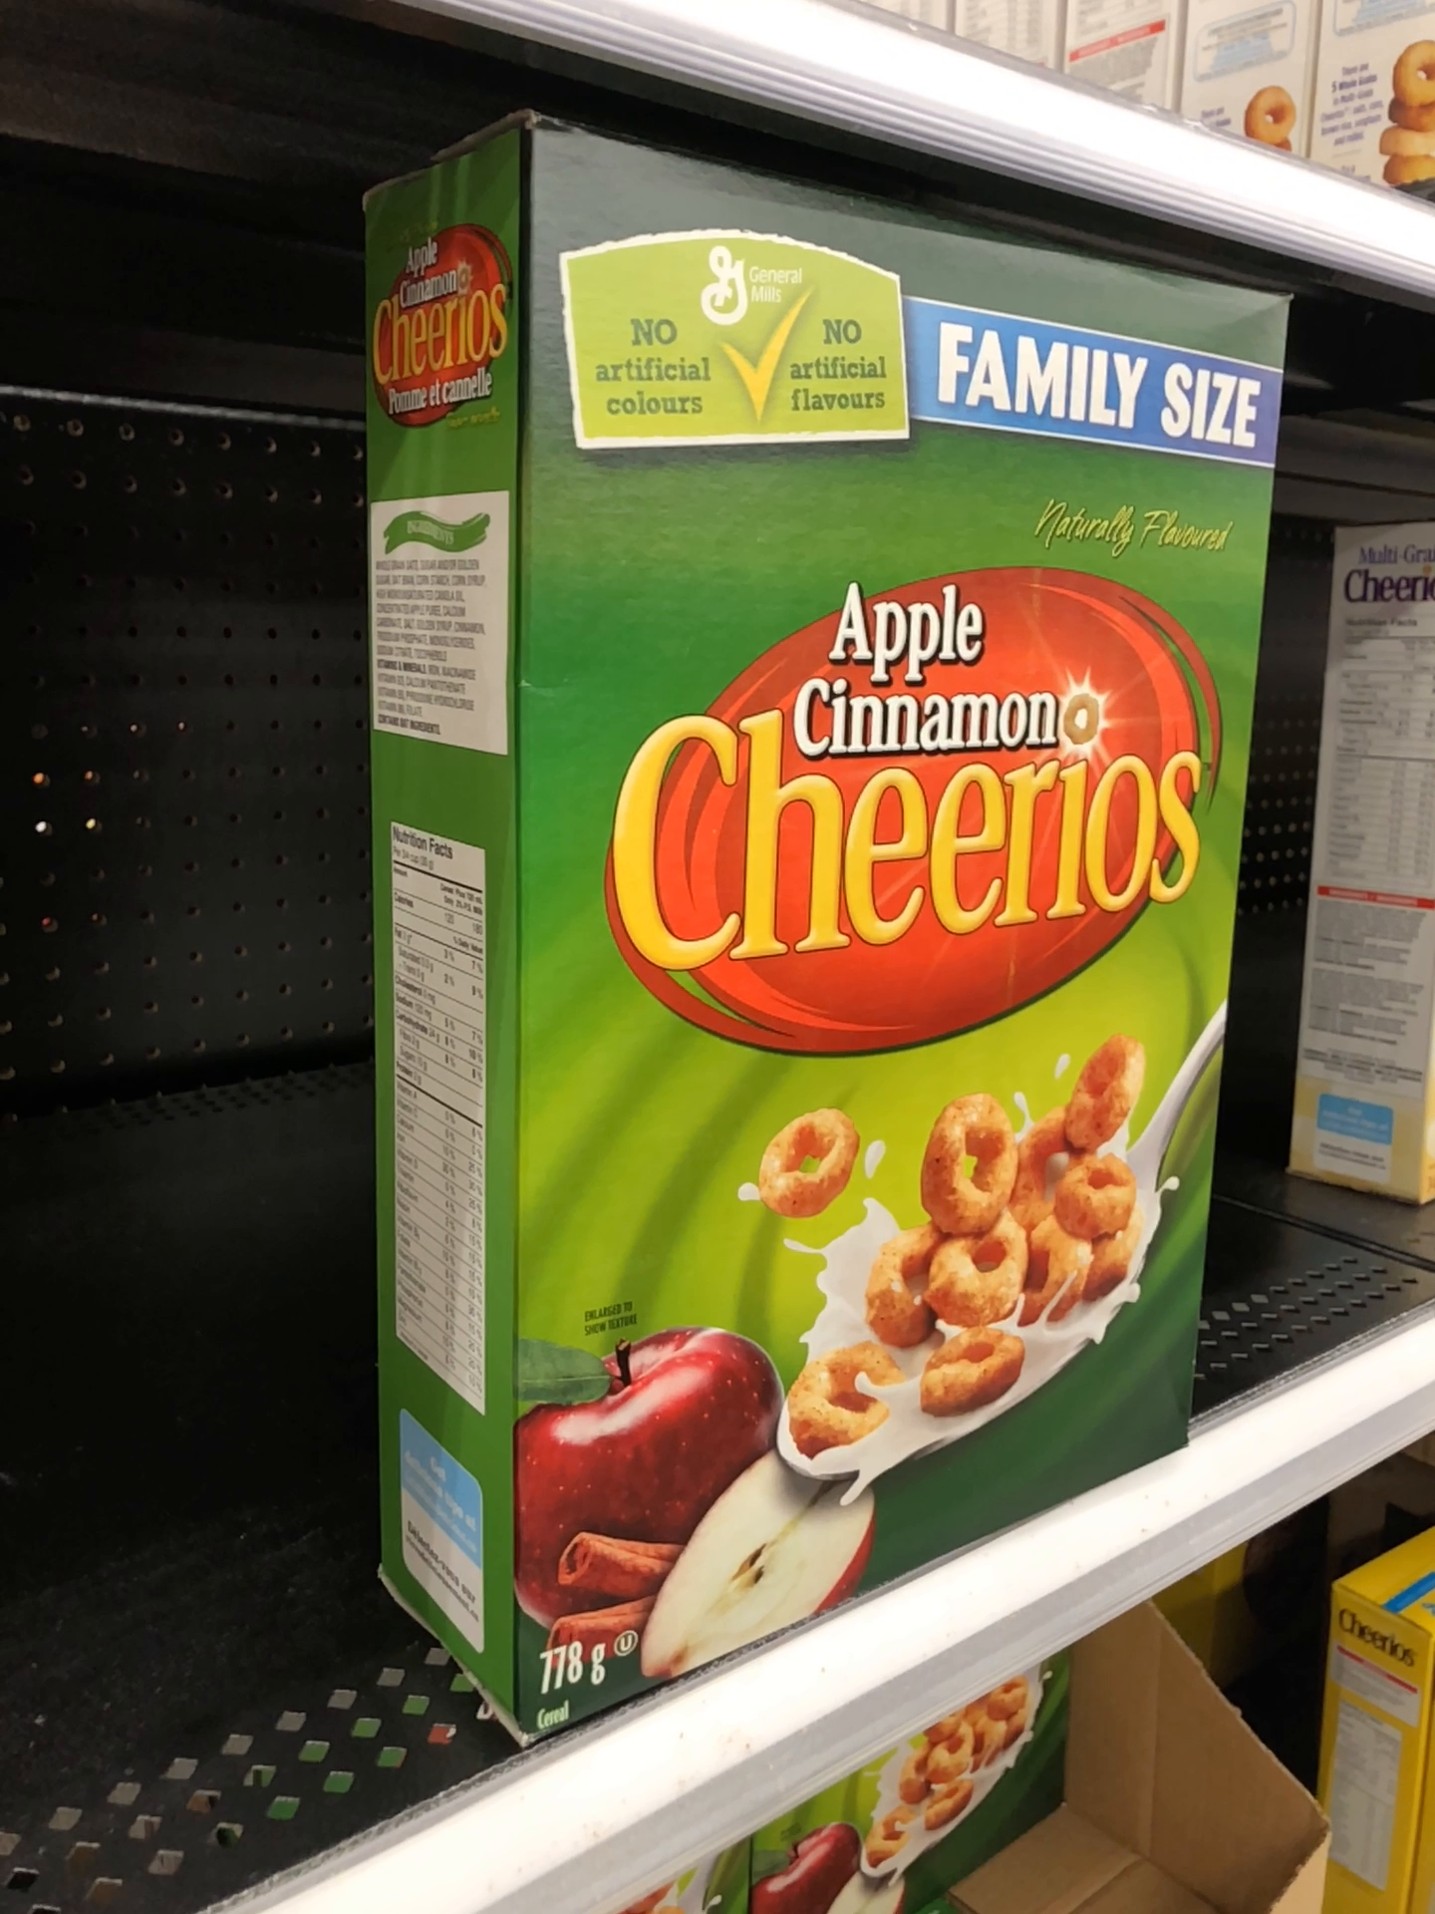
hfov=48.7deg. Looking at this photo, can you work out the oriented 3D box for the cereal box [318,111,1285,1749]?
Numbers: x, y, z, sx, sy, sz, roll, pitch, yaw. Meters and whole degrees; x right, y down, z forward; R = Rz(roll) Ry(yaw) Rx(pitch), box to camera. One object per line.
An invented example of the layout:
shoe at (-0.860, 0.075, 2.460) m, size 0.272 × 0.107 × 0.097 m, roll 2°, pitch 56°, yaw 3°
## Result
cereal box at (0.030, -0.010, 0.416) m, size 0.240 × 0.329 × 0.080 m, roll -7°, pitch 13°, yaw -36°
